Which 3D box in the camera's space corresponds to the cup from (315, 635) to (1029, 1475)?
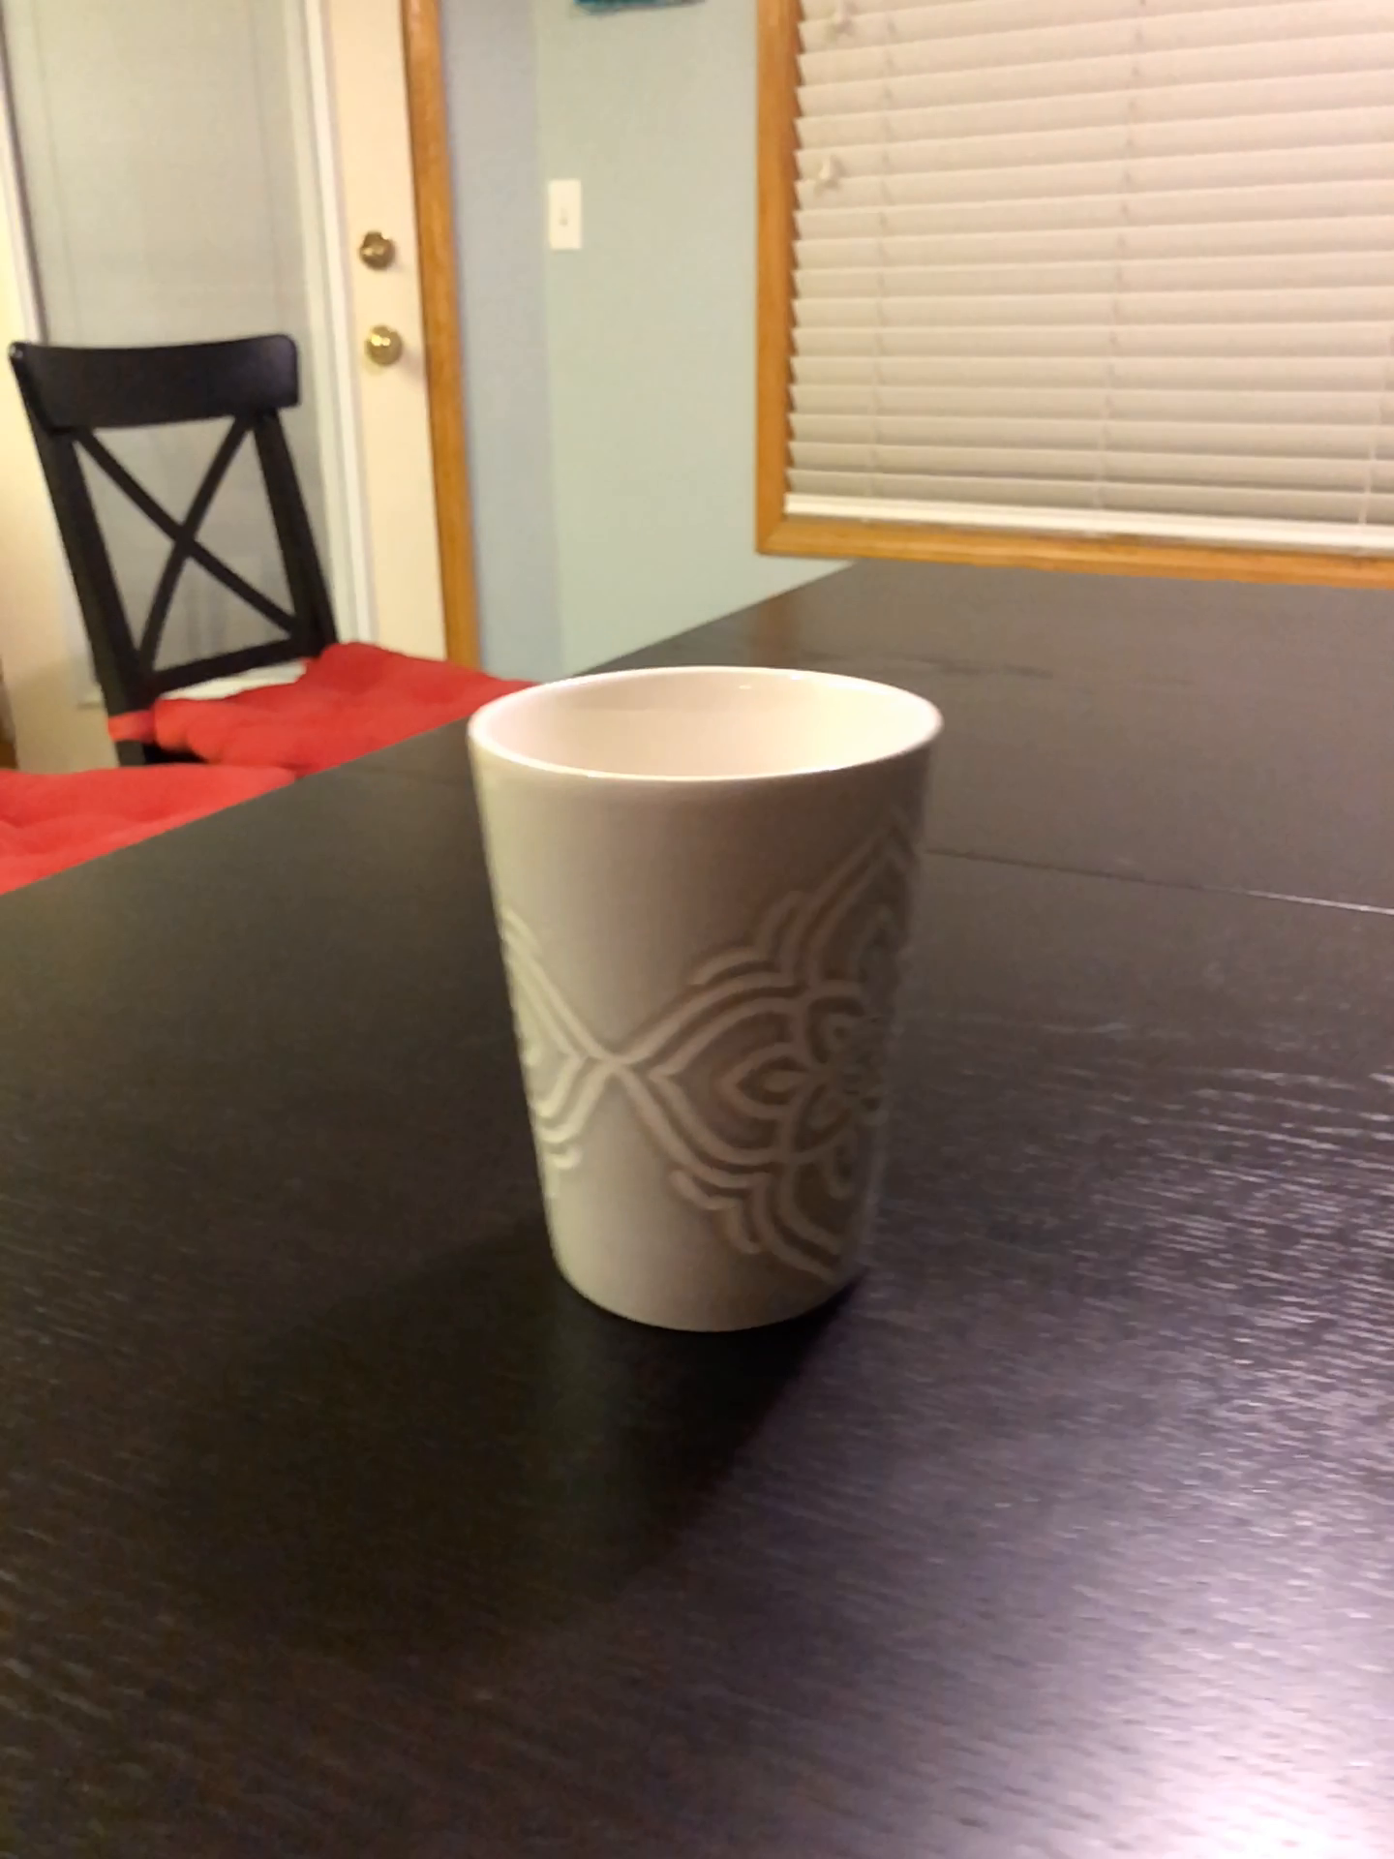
[{"bbox_3d":[0.003,0.014,0.348,0.100,0.129,0.130,10,23,25],"label":"cup"}]
